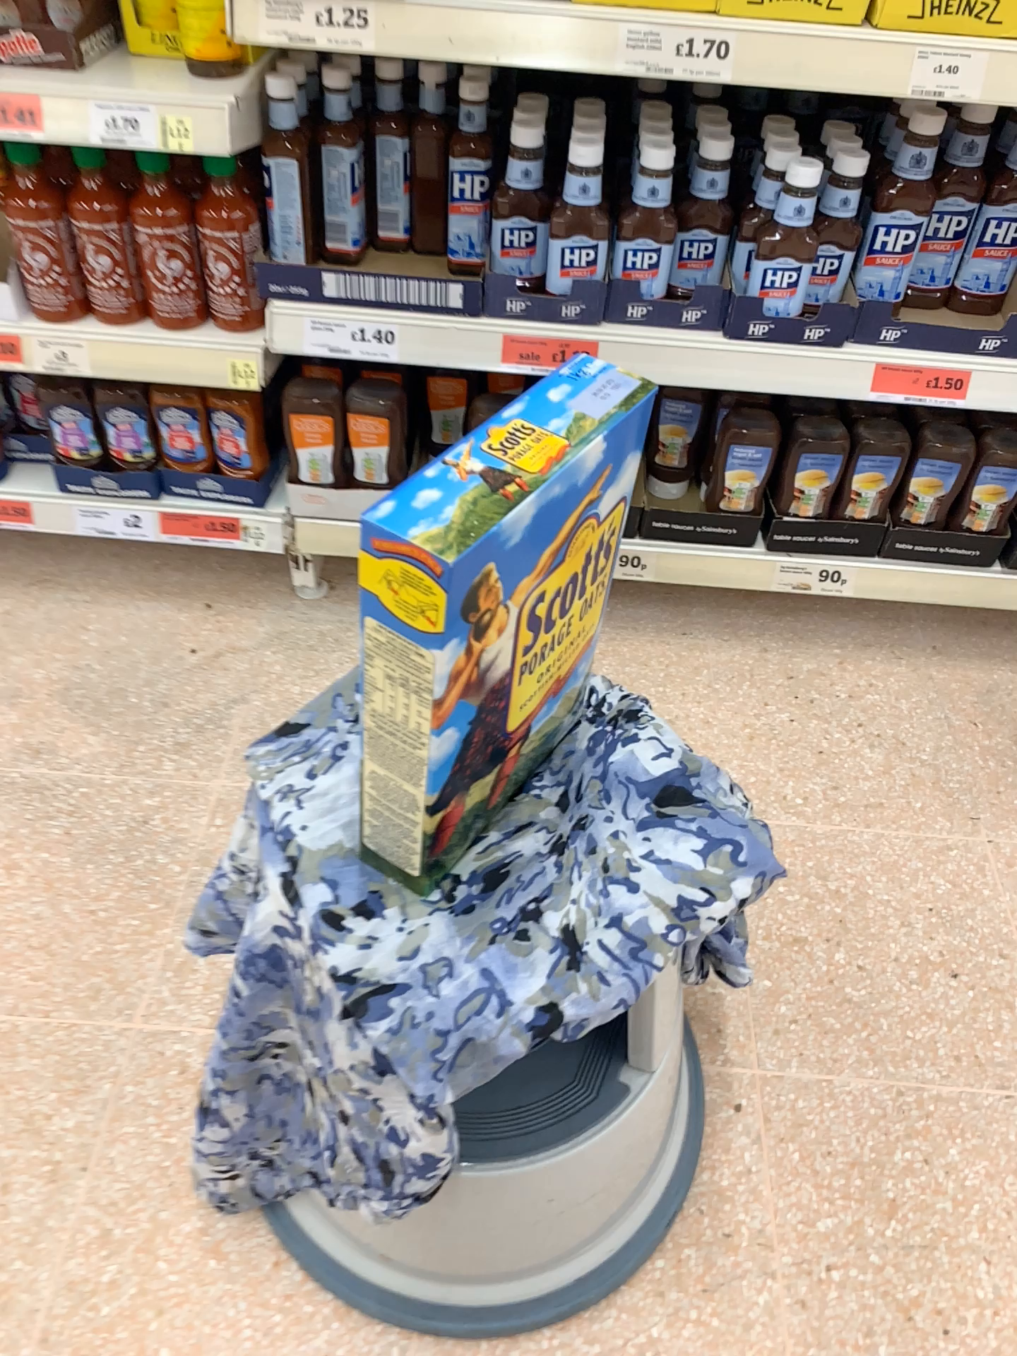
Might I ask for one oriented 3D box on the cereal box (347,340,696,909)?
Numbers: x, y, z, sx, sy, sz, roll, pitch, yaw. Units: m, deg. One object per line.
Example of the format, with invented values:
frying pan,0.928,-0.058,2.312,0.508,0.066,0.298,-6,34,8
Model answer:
cereal box,0.004,-0.026,0.579,0.060,0.248,0.211,29,50,19
